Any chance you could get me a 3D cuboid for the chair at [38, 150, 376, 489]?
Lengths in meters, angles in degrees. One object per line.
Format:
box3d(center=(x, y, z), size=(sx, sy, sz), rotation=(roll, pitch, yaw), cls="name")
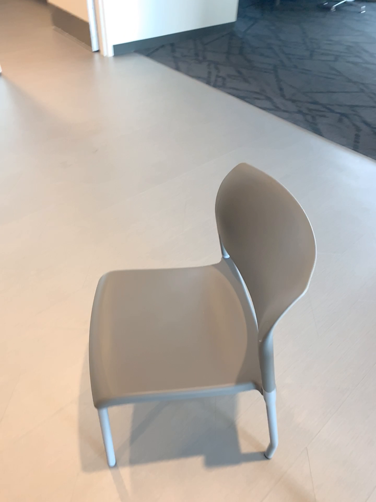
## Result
box3d(center=(-0.003, 0.210, 1.070), size=(0.570, 0.783, 0.504), rotation=(-5, 44, -9), cls="chair")
